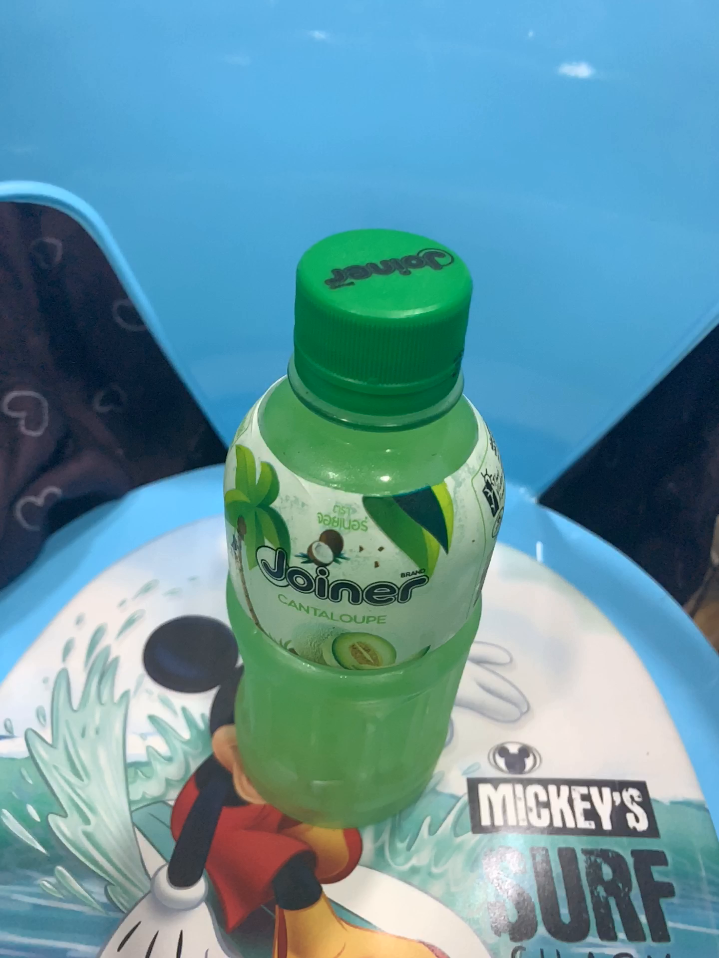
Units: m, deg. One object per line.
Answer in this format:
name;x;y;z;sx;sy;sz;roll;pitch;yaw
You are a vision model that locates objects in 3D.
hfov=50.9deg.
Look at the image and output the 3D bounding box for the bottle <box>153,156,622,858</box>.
bottle;0.003;0.015;0.163;0.060;0.139;0.060;3;40;-2
